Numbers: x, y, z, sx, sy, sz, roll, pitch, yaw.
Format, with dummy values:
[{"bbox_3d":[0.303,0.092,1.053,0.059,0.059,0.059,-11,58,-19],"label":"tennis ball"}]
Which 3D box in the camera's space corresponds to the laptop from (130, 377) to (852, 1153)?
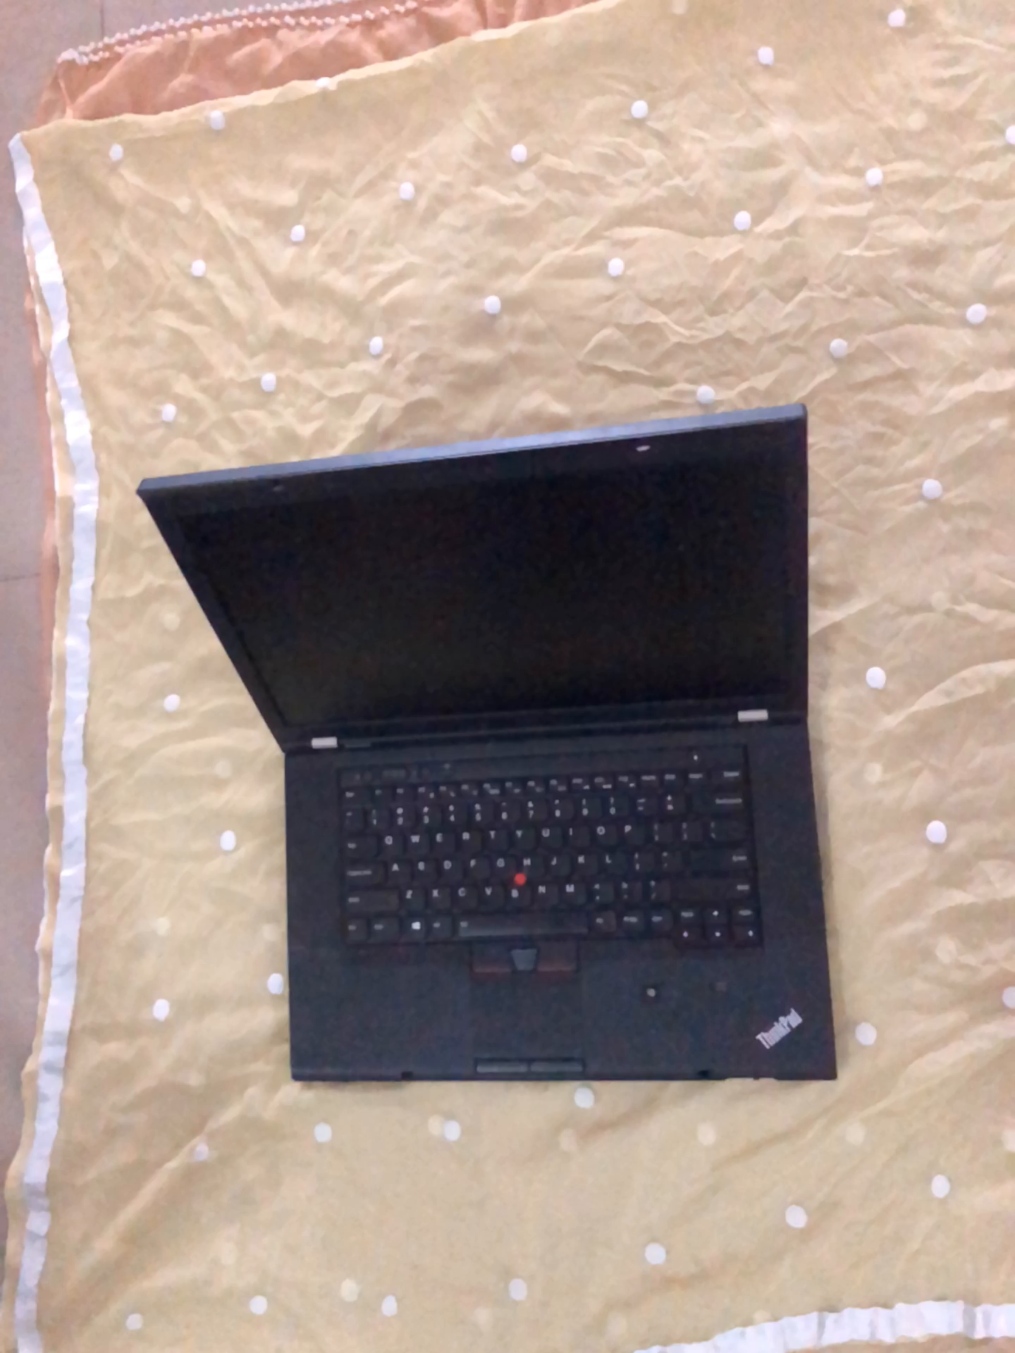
[{"bbox_3d":[-0.004,0.064,0.678,0.363,0.192,0.380,-4,85,11],"label":"laptop"}]
